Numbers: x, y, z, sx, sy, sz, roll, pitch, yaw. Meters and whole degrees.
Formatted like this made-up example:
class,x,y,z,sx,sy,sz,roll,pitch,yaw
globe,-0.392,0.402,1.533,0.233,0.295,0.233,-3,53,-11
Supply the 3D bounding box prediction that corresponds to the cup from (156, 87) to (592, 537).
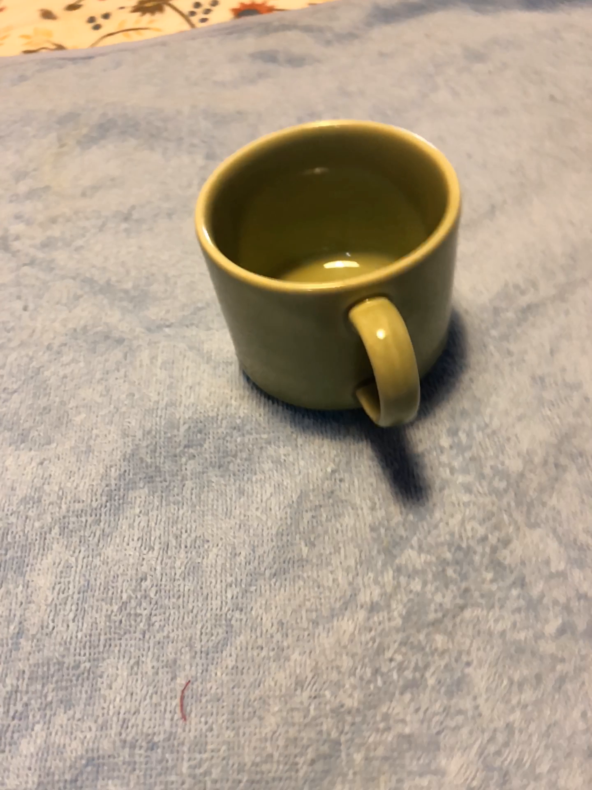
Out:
class,x,y,z,sx,sy,sz,roll,pitch,yaw
cup,0.018,-0.030,0.213,0.090,0.060,0.111,-19,55,-5
